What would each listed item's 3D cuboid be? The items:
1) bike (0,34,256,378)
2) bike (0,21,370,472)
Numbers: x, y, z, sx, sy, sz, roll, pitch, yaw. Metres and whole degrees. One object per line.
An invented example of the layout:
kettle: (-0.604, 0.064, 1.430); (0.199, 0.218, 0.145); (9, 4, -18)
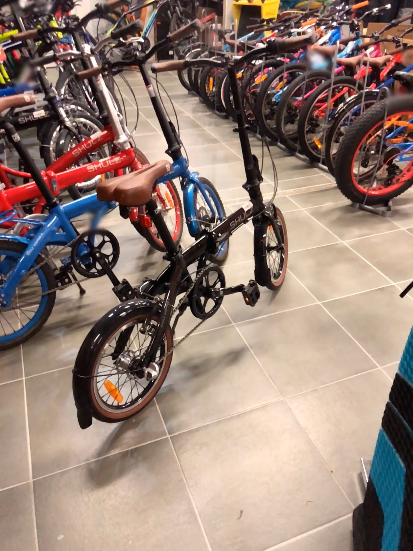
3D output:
bike: (-0.488, -0.413, 1.932); (0.568, 1.029, 1.377); (30, 41, 35)
bike: (-0.024, -0.233, 1.620); (0.565, 1.057, 1.278); (21, 39, 27)
